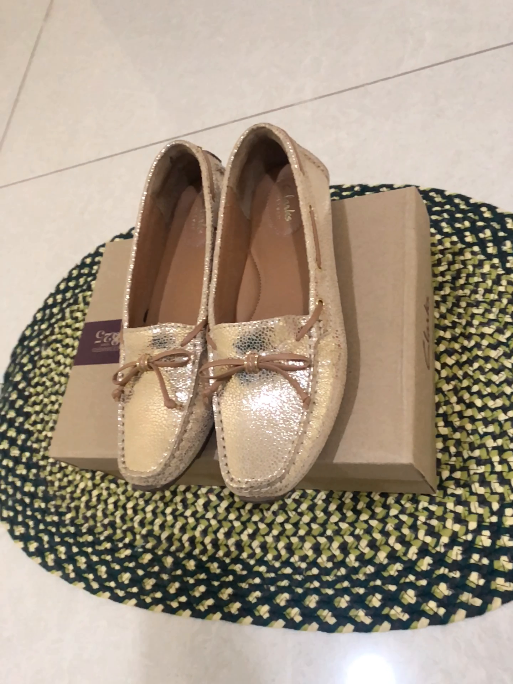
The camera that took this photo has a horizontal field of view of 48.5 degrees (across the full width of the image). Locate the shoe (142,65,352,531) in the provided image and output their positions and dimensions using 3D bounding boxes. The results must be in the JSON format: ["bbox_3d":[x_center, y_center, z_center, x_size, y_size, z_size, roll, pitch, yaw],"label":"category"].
[{"bbox_3d":[0.007,-0.042,0.382,0.090,0.060,0.310,-5,62,23],"label":"shoe"}]

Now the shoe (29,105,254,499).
[{"bbox_3d":[-0.070,-0.036,0.411,0.090,0.060,0.280,-5,62,23],"label":"shoe"}]
